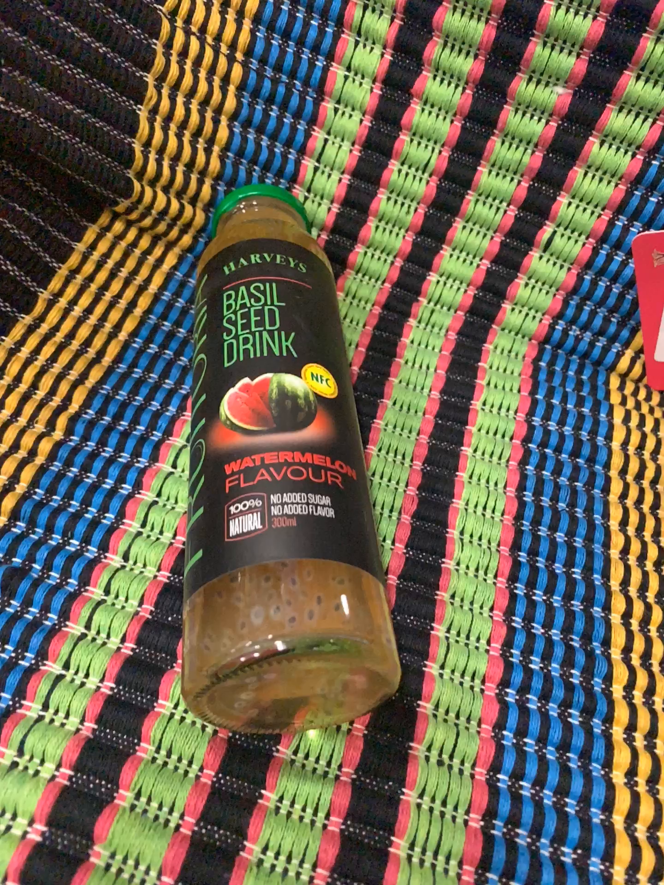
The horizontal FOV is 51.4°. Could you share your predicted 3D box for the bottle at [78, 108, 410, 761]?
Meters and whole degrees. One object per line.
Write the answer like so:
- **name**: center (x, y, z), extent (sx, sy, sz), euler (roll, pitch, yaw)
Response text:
- **bottle**: center (-0.024, -0.019, 0.214), extent (0.060, 0.060, 0.200), euler (-10, 52, 3)
